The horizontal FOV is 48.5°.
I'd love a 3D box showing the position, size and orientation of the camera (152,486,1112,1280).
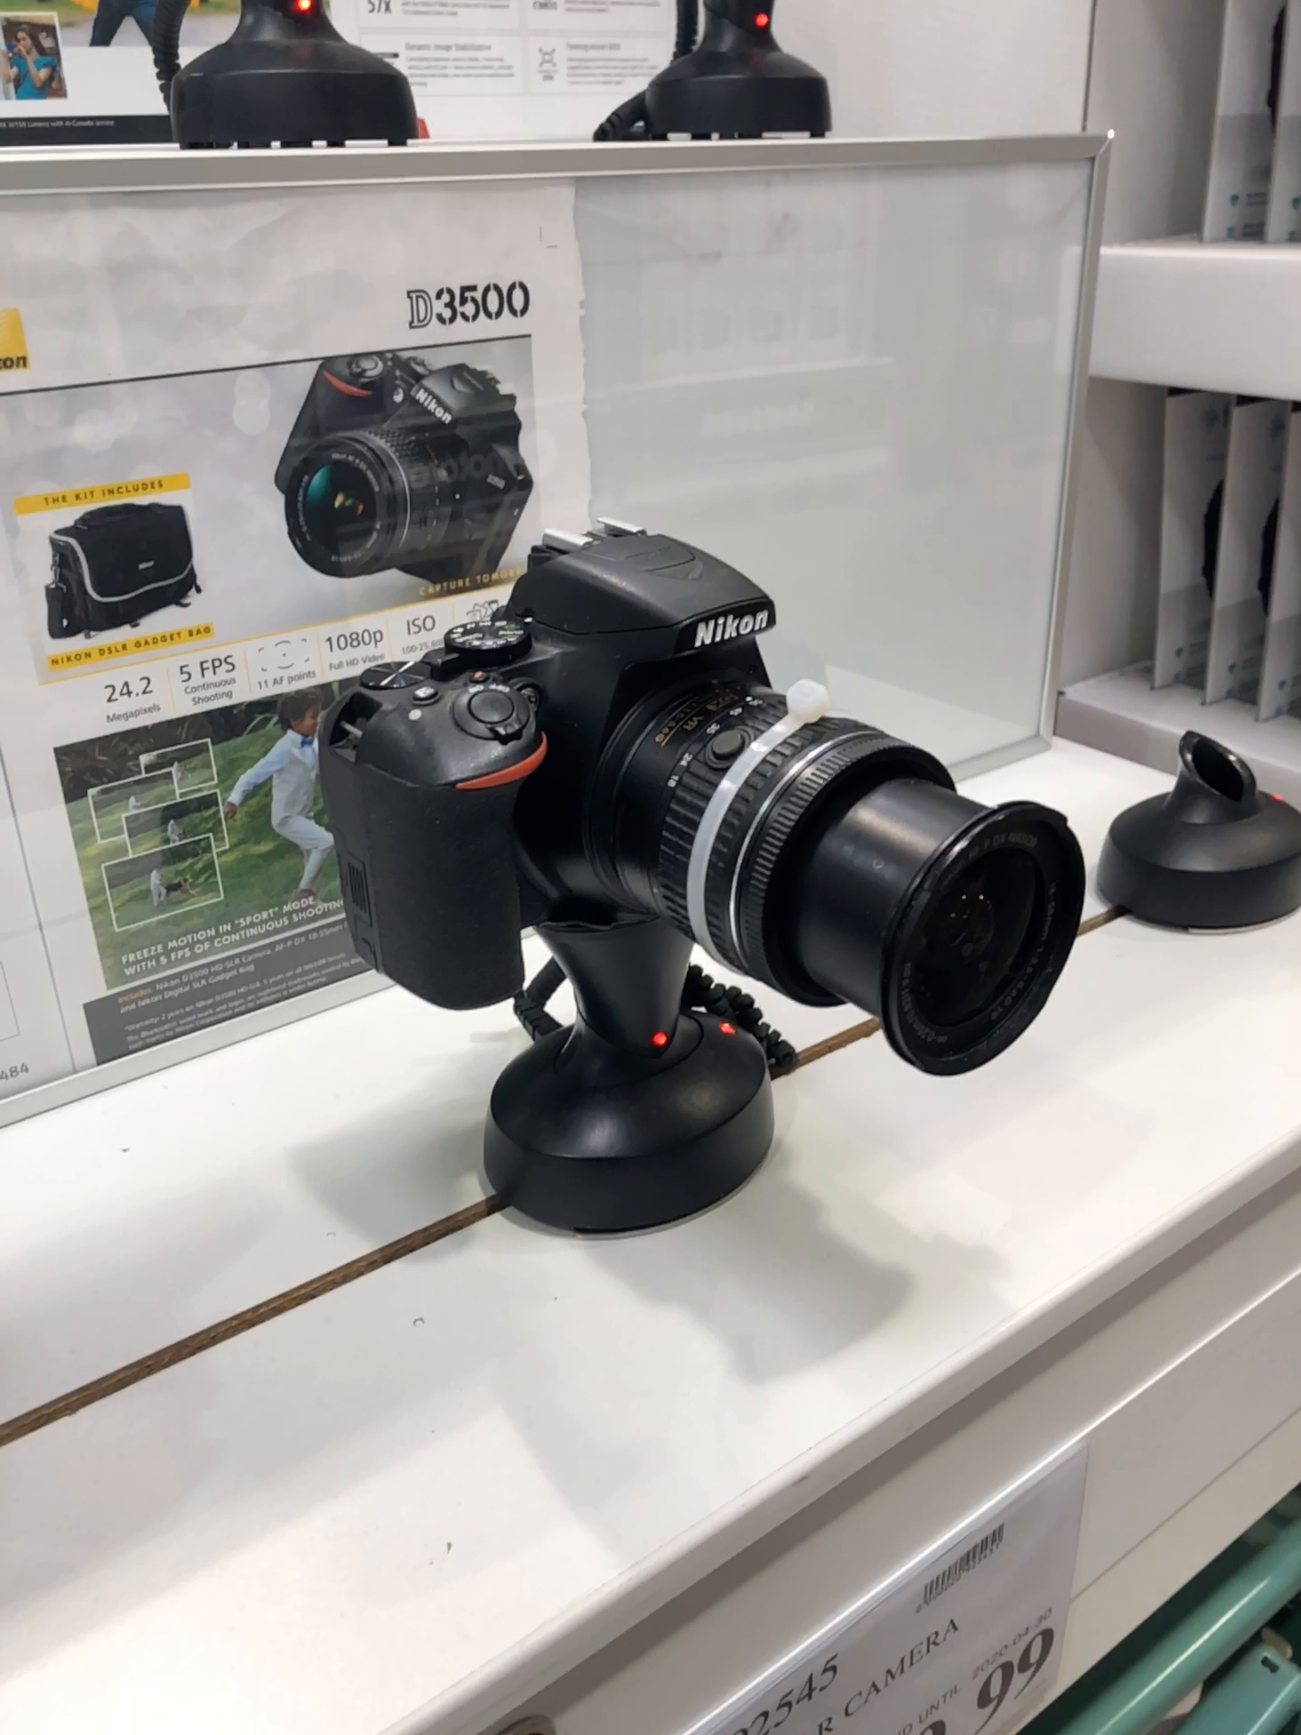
[{"bbox_3d":[-0.011,-0.019,0.367,0.140,0.110,0.191,-21,31,-35],"label":"camera"}]
